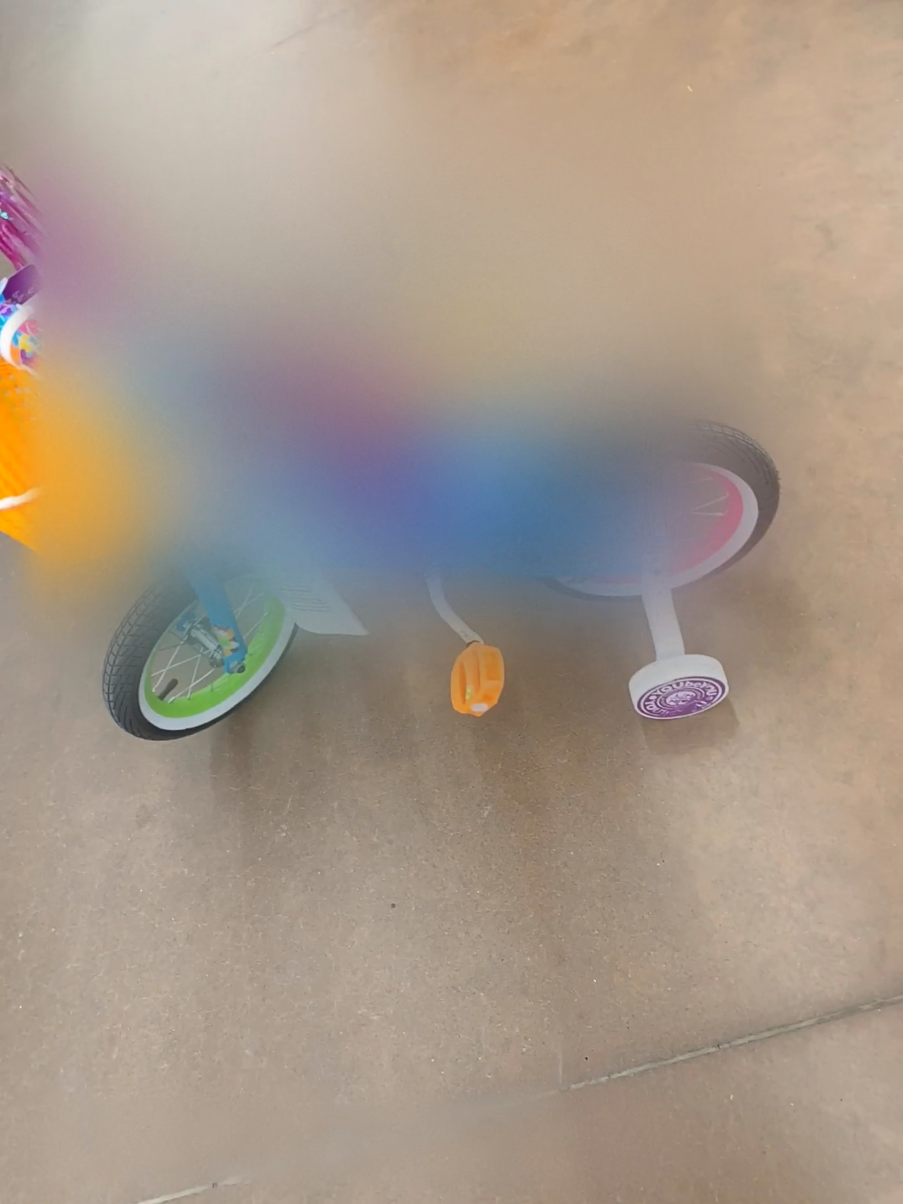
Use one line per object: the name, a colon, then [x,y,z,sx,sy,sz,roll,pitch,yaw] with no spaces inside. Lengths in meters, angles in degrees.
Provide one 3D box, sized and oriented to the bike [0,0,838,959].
bike: [-0.095,-0.085,0.950,0.833,0.667,0.522,-19,53,13]
